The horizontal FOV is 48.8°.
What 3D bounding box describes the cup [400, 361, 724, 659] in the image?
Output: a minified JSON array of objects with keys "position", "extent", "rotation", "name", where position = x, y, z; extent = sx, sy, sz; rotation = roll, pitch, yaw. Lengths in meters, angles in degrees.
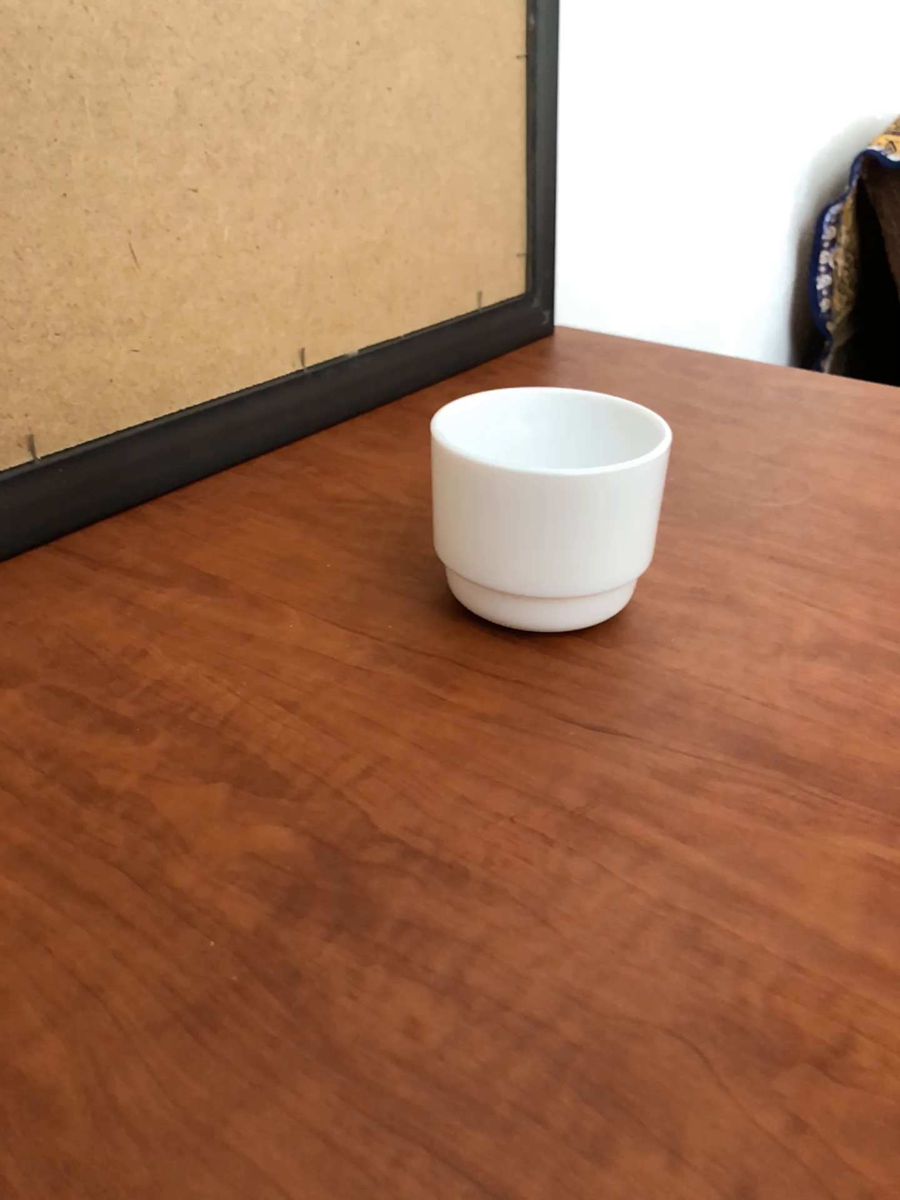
[{"position":[0.032,-0.040,0.365],"extent":[0.086,0.060,0.120],"rotation":[-4,30,-8],"name":"cup"}]
